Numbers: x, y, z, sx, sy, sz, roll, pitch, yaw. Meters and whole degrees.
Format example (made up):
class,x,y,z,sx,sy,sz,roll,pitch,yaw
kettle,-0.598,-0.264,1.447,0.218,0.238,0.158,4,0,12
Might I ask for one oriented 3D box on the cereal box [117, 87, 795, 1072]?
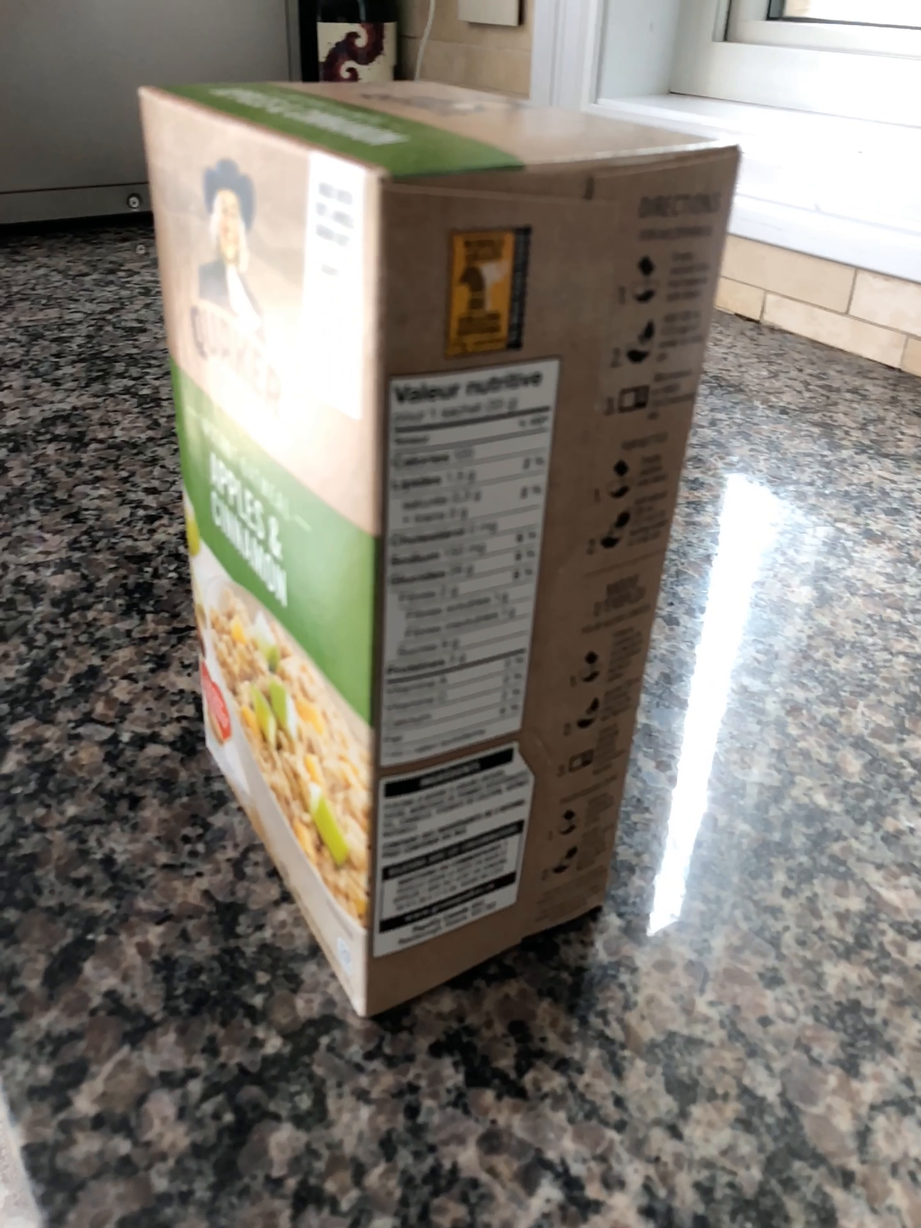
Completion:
class,x,y,z,sx,sy,sz,roll,pitch,yaw
cereal box,-0.013,-0.015,0.269,0.090,0.209,0.130,-16,36,-26
